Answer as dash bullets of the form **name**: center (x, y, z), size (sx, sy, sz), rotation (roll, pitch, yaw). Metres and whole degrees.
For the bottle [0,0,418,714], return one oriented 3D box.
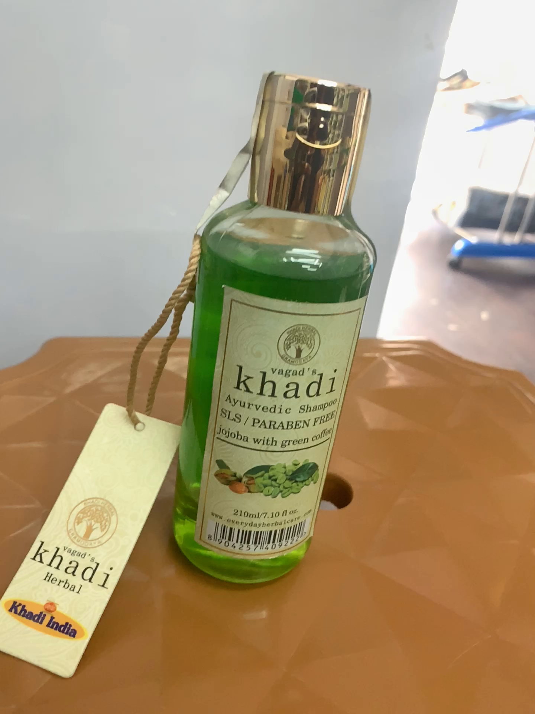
- **bottle**: center (-0.030, 0.005, 0.064), size (0.050, 0.149, 0.050), rotation (6, 25, -3)
